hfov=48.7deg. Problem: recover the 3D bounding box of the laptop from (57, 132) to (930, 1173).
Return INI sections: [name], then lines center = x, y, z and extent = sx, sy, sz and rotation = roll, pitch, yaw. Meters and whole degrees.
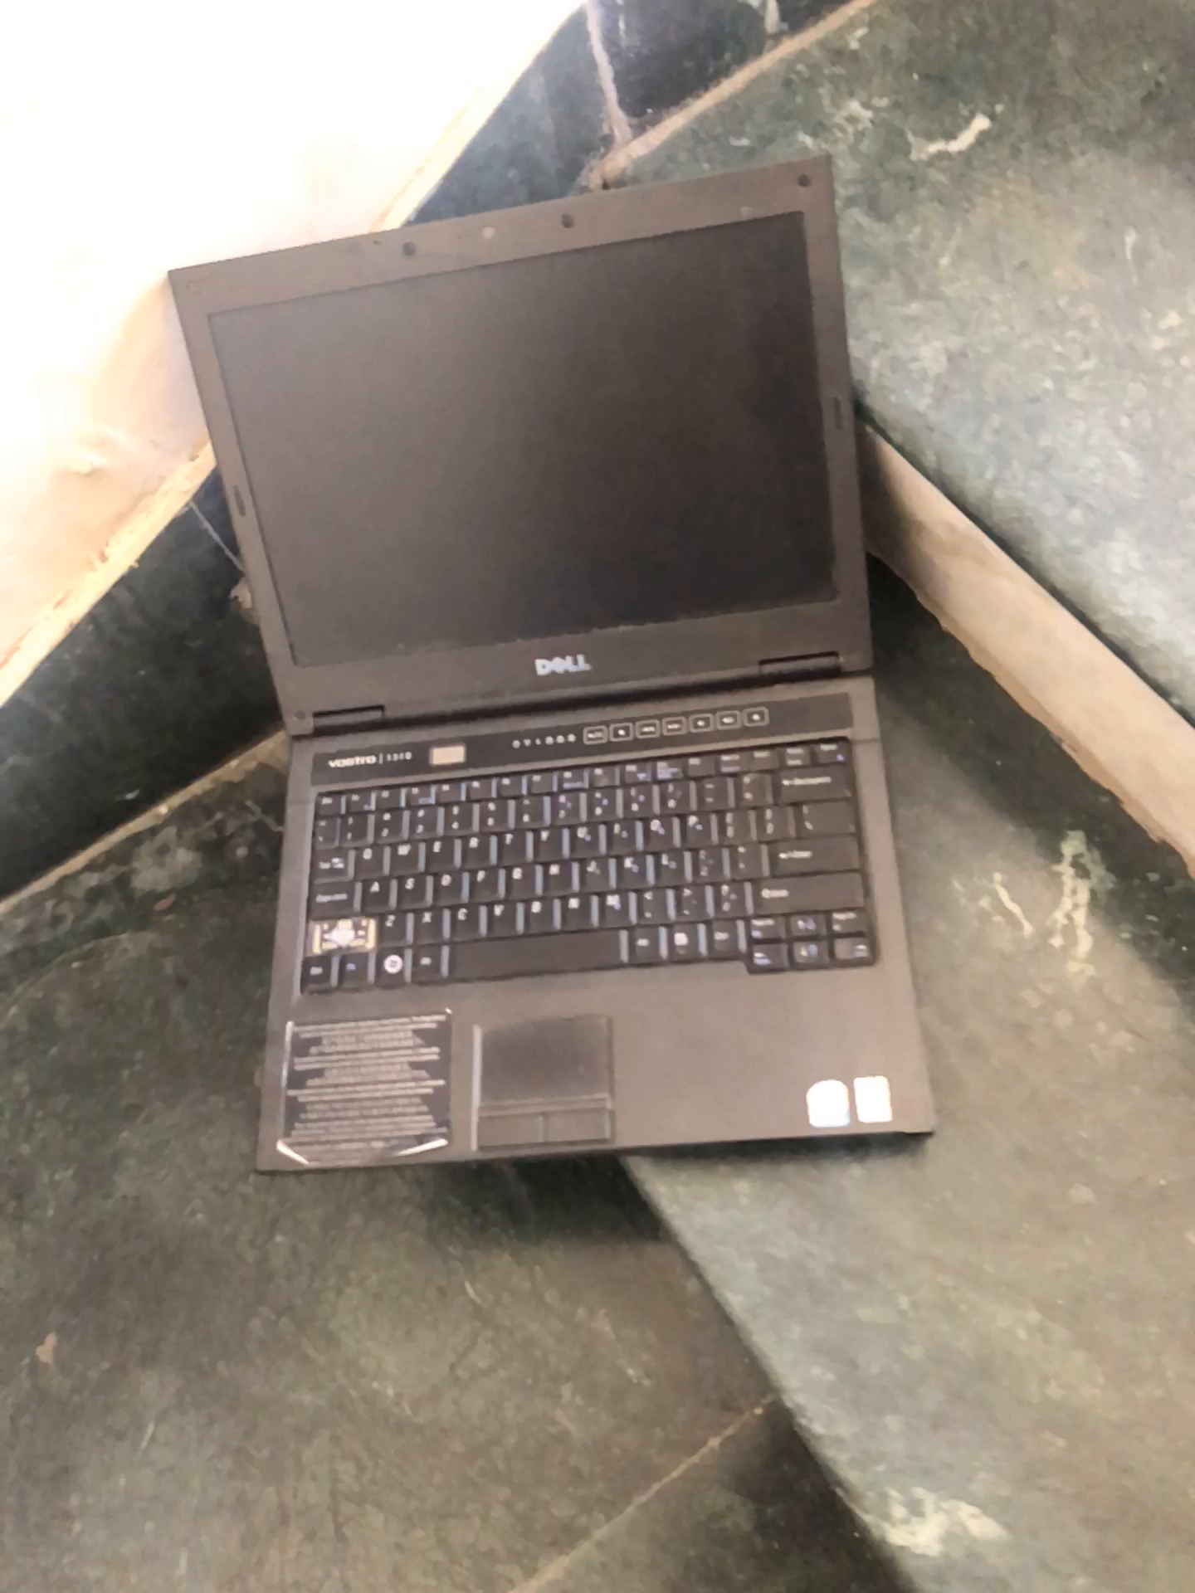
[laptop]
center = -0.032, -0.055, 0.591
extent = 0.301, 0.169, 0.387
rotation = -5, 66, 10
